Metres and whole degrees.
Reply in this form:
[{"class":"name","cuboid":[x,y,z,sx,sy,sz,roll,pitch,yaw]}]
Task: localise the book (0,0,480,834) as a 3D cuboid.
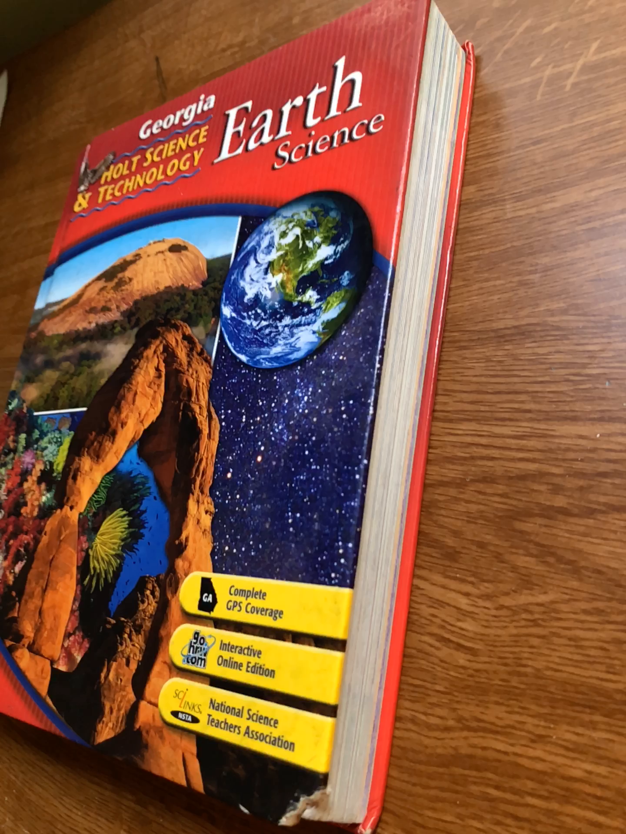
[{"class":"book","cuboid":[-0.058,-0.010,0.271,0.215,0.050,0.266,-3,69,37]}]
